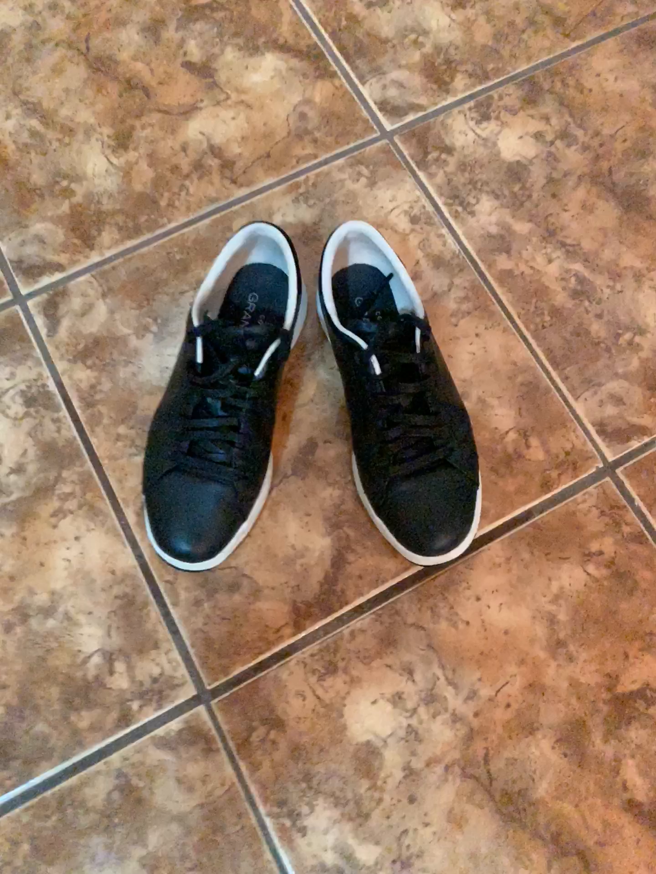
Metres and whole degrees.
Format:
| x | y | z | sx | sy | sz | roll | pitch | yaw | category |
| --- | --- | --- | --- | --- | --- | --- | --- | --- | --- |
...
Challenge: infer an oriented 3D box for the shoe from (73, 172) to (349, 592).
| x | y | z | sx | sy | sz | roll | pitch | yaw | category |
| --- | --- | --- | --- | --- | --- | --- | --- | --- | --- |
| -0.065 | -0.037 | 0.455 | 0.087 | 0.093 | 0.255 | 16 | 72 | 4 | shoe |

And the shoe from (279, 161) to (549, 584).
| x | y | z | sx | sy | sz | roll | pitch | yaw | category |
| --- | --- | --- | --- | --- | --- | --- | --- | --- | --- |
| 0.045 | -0.042 | 0.459 | 0.090 | 0.103 | 0.255 | -15 | 73 | -6 | shoe |
